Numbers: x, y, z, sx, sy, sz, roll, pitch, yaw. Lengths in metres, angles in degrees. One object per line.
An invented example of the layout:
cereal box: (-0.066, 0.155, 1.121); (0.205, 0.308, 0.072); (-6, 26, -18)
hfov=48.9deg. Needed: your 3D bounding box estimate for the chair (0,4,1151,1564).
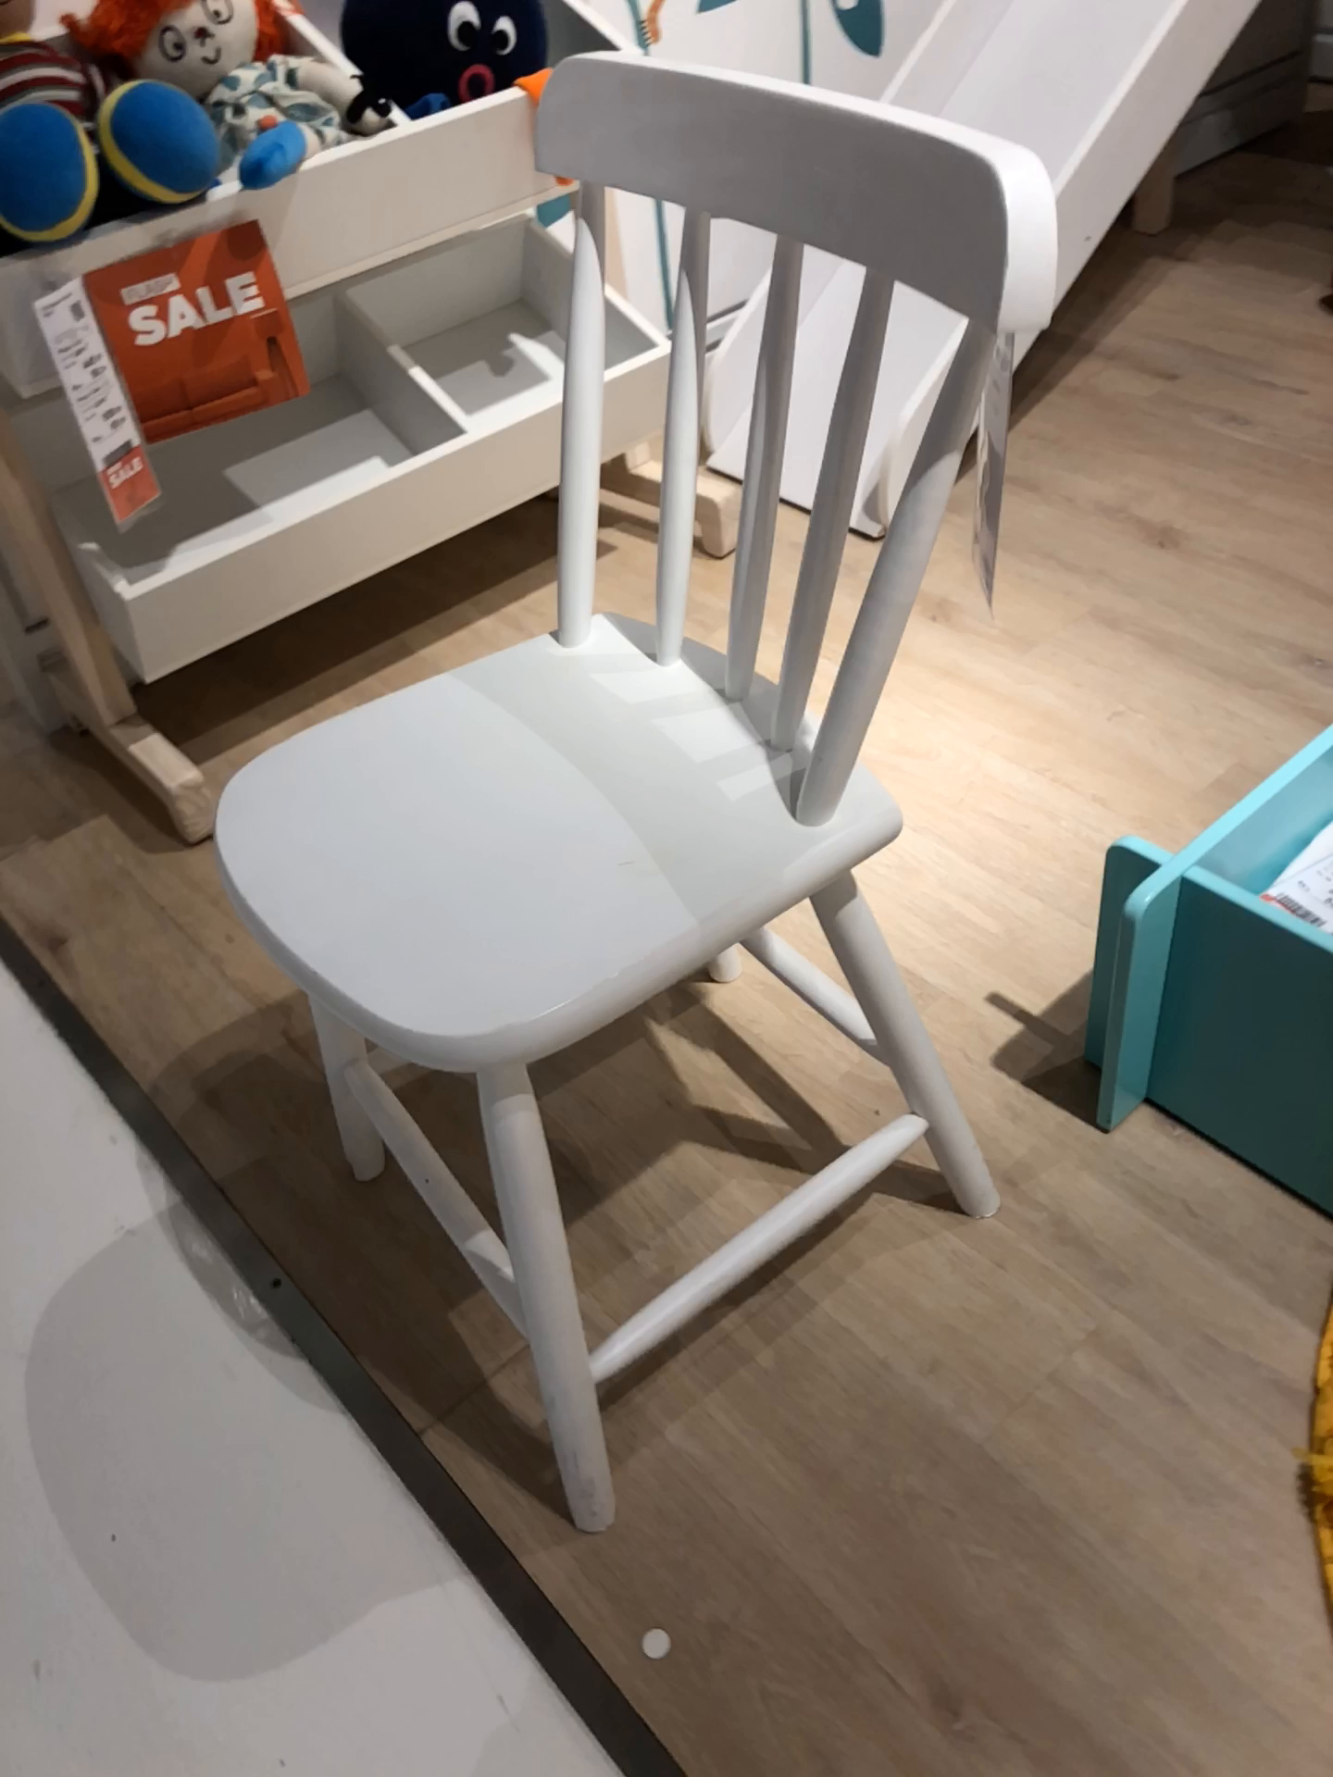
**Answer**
chair: (-0.056, -0.051, 0.920); (0.431, 0.755, 0.442); (-29, 45, -21)
